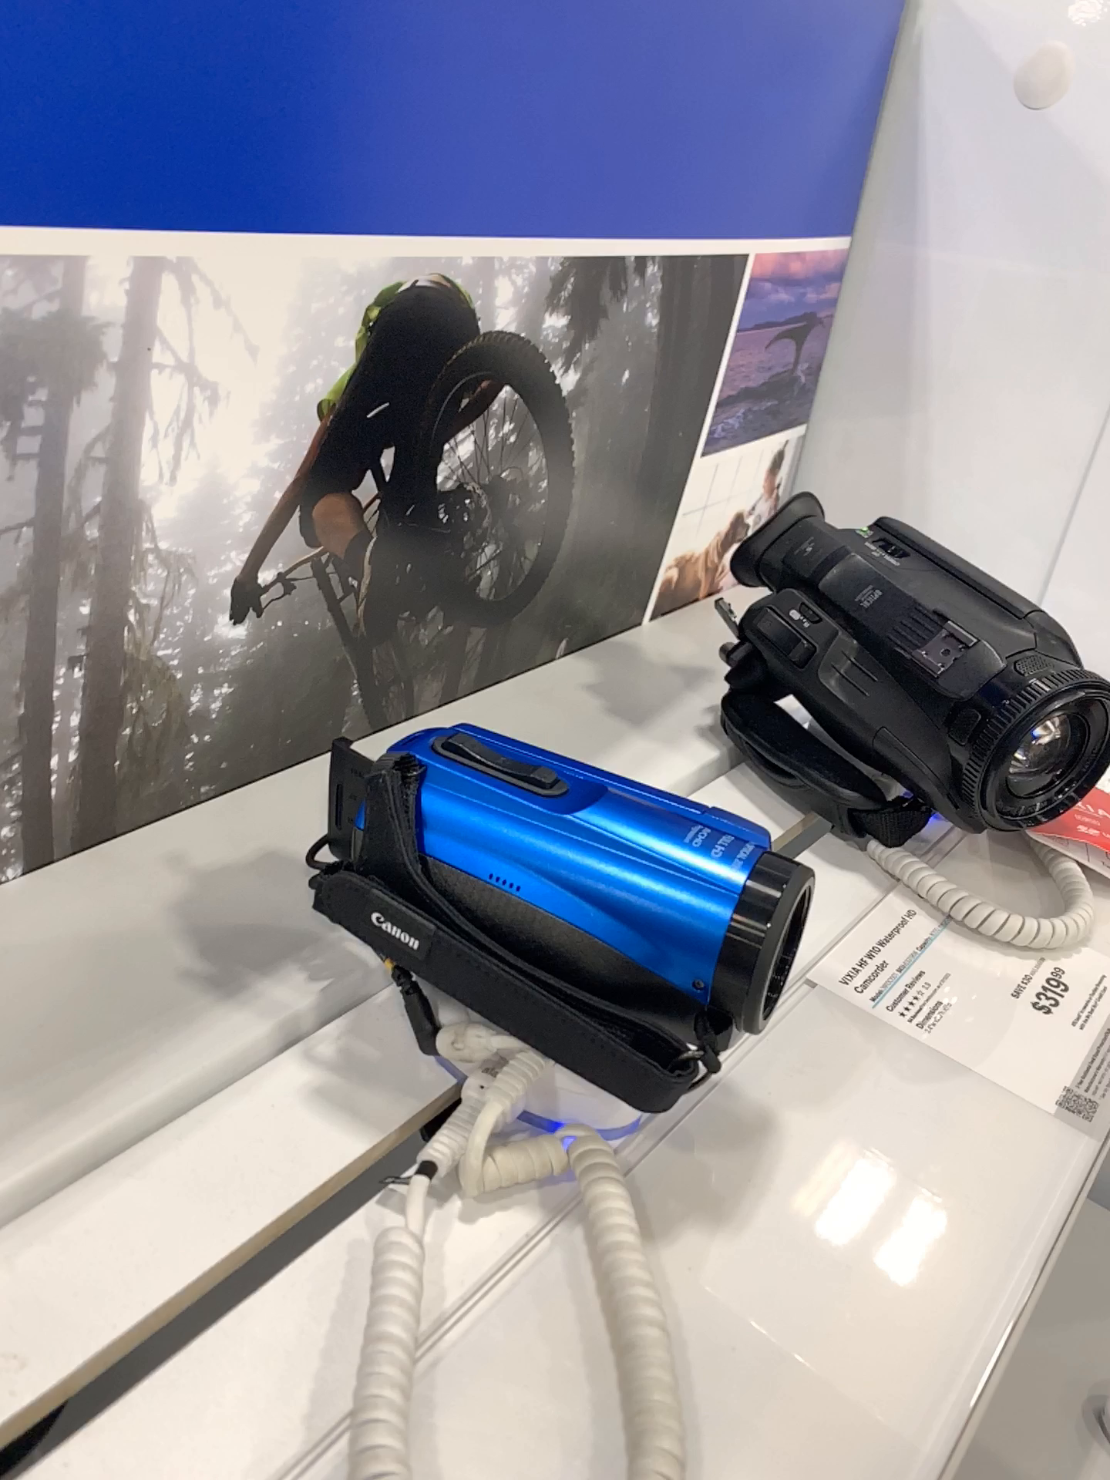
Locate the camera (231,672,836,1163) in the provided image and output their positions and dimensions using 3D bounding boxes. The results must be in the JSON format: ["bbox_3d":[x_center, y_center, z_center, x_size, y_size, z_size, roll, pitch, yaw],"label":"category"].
[{"bbox_3d":[-0.008,0.040,0.315,0.143,0.057,0.073,20,29,20],"label":"camera"}]
